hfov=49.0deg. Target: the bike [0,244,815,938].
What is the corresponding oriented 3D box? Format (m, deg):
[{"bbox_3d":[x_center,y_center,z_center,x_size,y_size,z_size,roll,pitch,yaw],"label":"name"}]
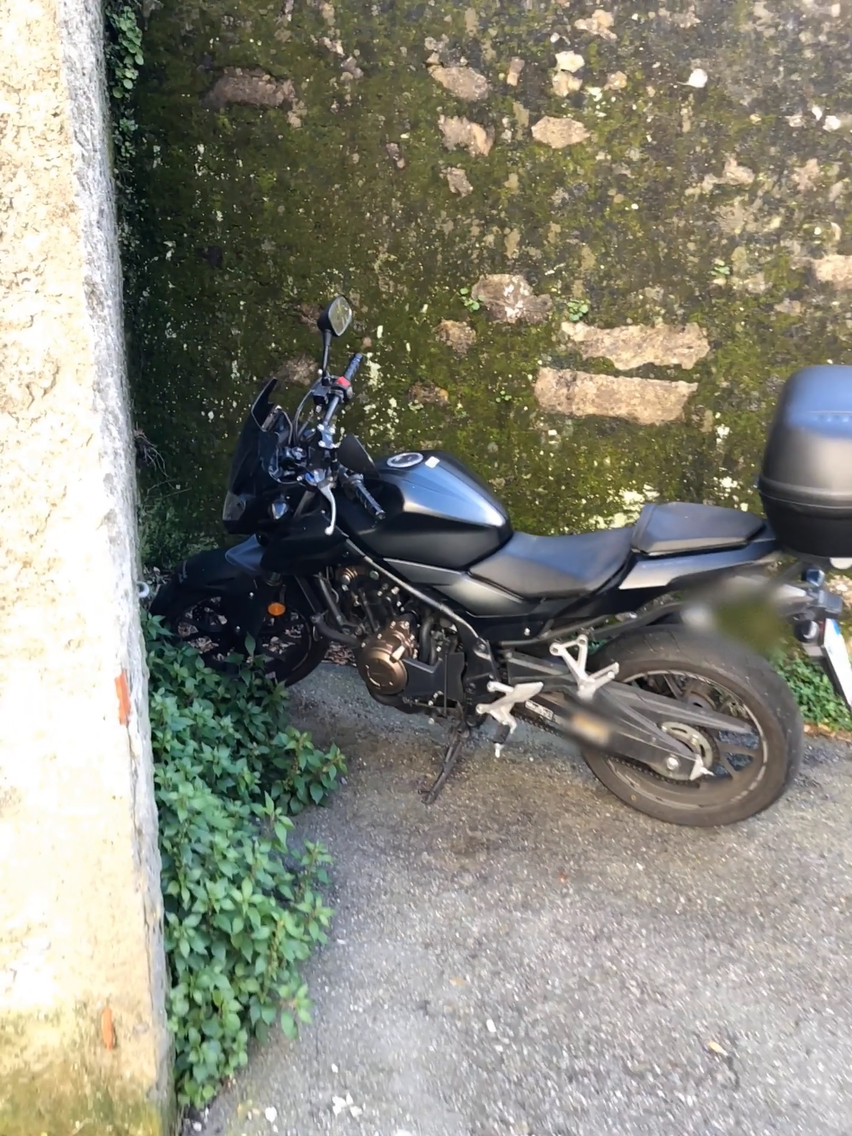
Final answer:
[{"bbox_3d":[-0.004,-0.025,2.405,1.783,1.199,0.713,10,17,10],"label":"bike"}]
